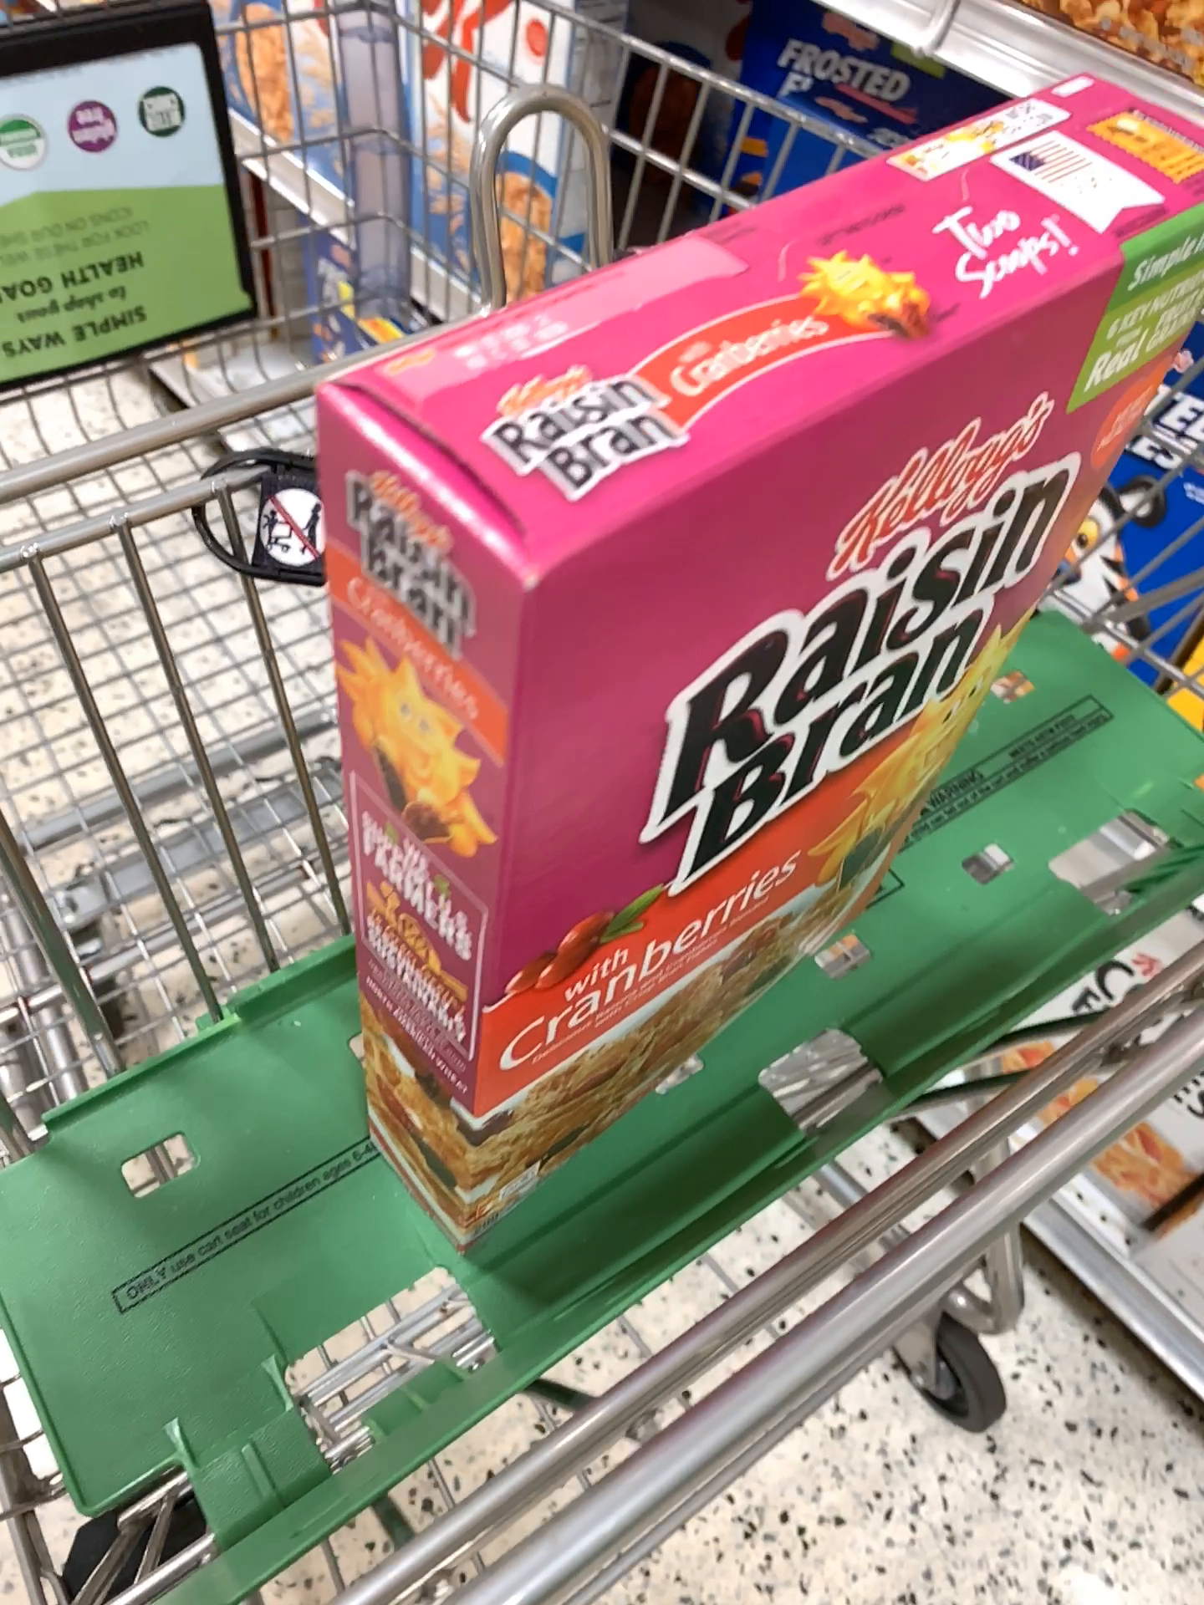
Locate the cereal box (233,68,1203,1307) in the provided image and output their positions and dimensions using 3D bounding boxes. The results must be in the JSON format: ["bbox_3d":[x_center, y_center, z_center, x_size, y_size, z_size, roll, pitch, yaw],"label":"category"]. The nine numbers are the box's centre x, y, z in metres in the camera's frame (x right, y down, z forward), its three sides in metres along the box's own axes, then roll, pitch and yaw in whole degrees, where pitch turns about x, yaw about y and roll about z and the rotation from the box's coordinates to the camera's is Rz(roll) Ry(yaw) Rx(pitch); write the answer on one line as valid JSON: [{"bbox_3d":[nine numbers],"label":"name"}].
[{"bbox_3d":[0.022,0.004,0.342,0.211,0.327,0.050,-34,66,-28],"label":"cereal box"}]
